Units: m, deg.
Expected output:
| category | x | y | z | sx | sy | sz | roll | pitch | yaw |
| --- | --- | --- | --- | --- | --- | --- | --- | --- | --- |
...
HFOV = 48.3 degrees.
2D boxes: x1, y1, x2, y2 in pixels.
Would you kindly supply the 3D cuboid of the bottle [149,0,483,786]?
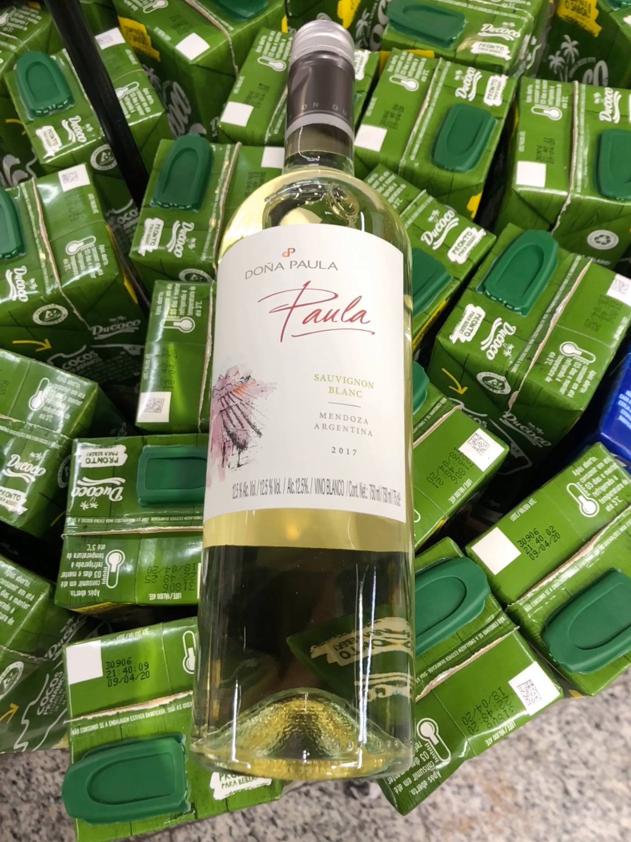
| category | x | y | z | sx | sy | sz | roll | pitch | yaw |
| --- | --- | --- | --- | --- | --- | --- | --- | --- | --- |
| bottle | 0.005 | -0.053 | 0.265 | 0.080 | 0.070 | 0.331 | 0 | 67 | 3 |
